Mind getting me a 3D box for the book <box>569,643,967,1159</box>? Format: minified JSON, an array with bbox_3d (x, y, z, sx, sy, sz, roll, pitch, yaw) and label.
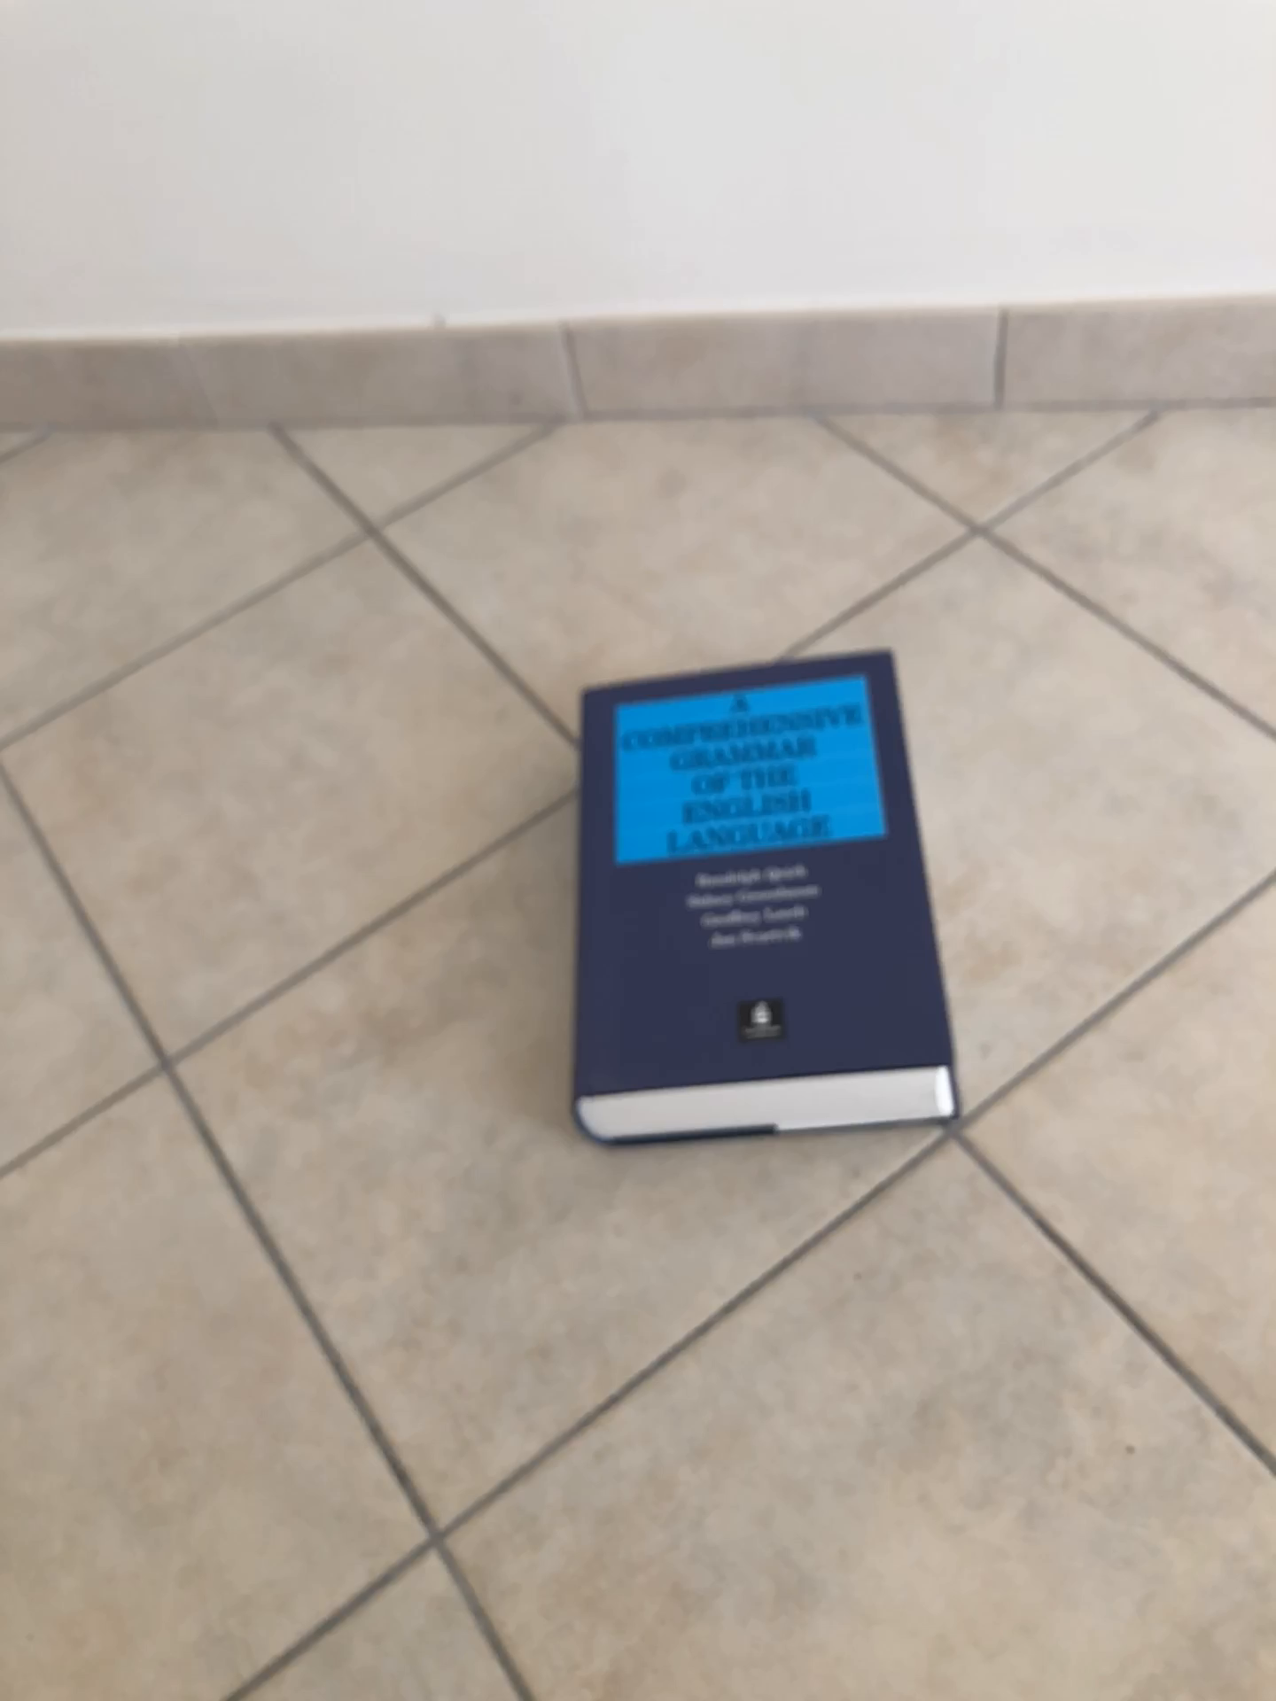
[{"bbox_3d":[0.061,0.020,0.745,0.180,0.067,0.258,-7,54,7],"label":"book"}]
